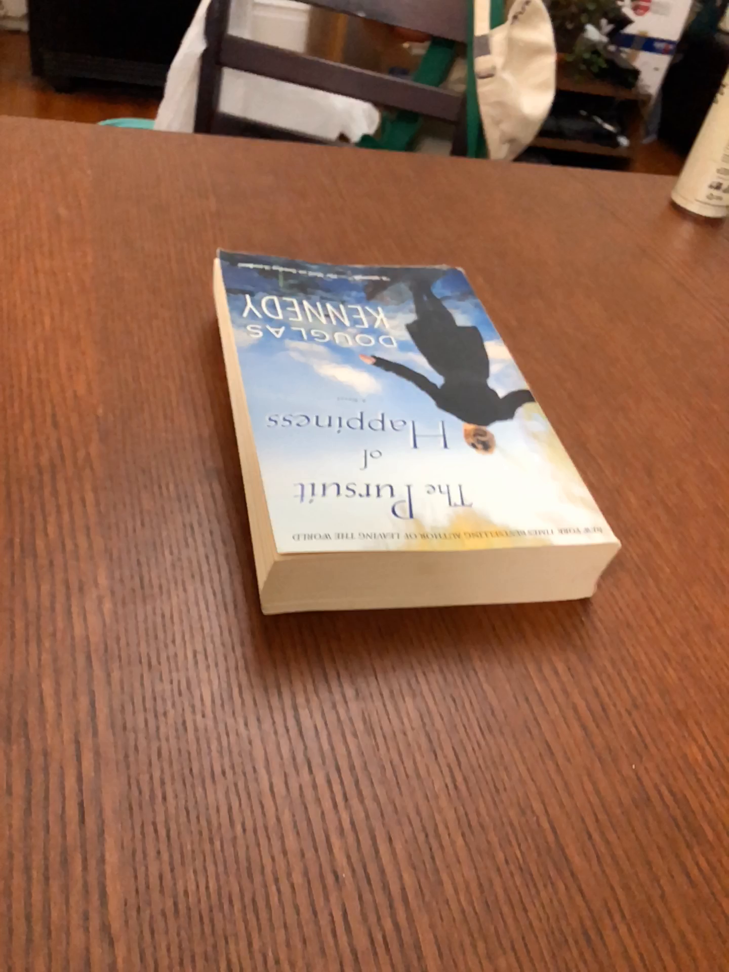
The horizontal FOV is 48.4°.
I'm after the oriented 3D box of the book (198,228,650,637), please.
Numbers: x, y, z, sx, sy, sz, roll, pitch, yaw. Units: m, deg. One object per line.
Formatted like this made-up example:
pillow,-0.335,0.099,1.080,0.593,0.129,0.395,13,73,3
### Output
book,0.008,-0.043,0.403,0.160,0.050,0.241,-1,43,-16
